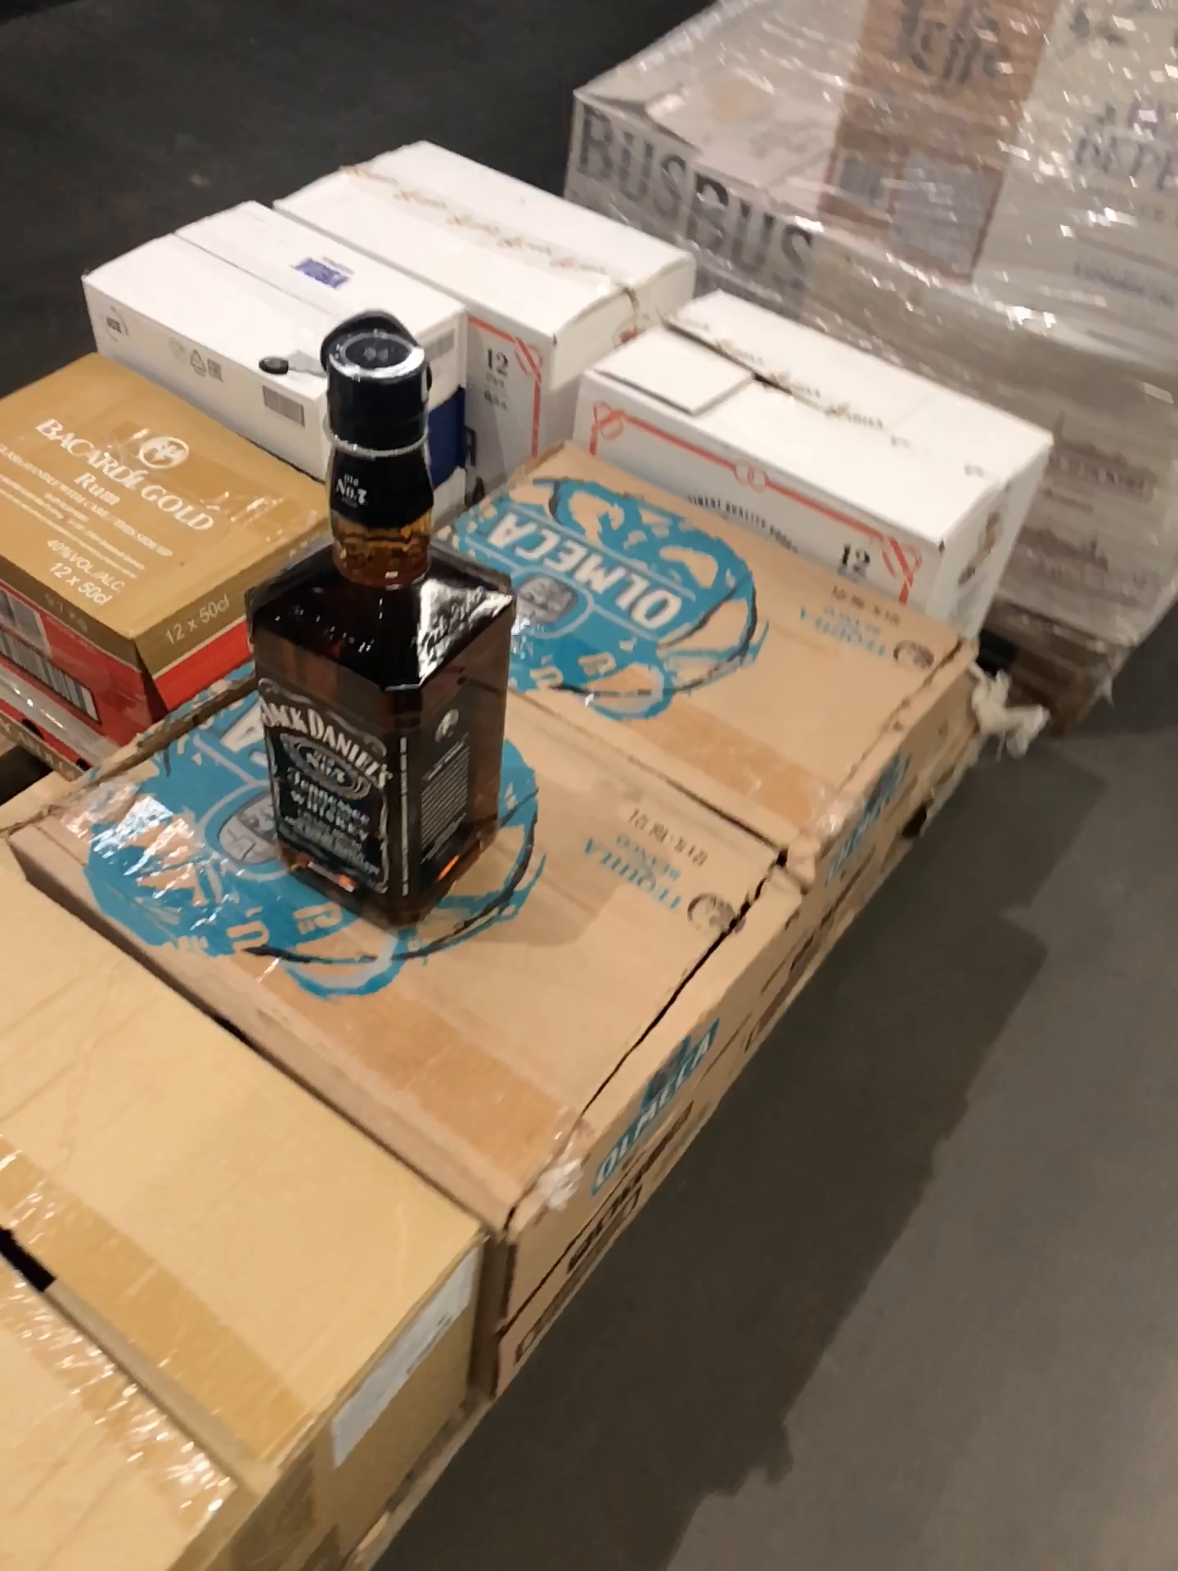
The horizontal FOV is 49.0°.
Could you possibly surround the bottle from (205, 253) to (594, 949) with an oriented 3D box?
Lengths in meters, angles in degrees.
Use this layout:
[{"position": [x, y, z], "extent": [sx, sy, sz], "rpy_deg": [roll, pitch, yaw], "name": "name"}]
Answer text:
[{"position": [-0.088, -0.074, 0.631], "extent": [0.110, 0.308, 0.111], "rpy_deg": [4, 47, -4], "name": "bottle"}]
